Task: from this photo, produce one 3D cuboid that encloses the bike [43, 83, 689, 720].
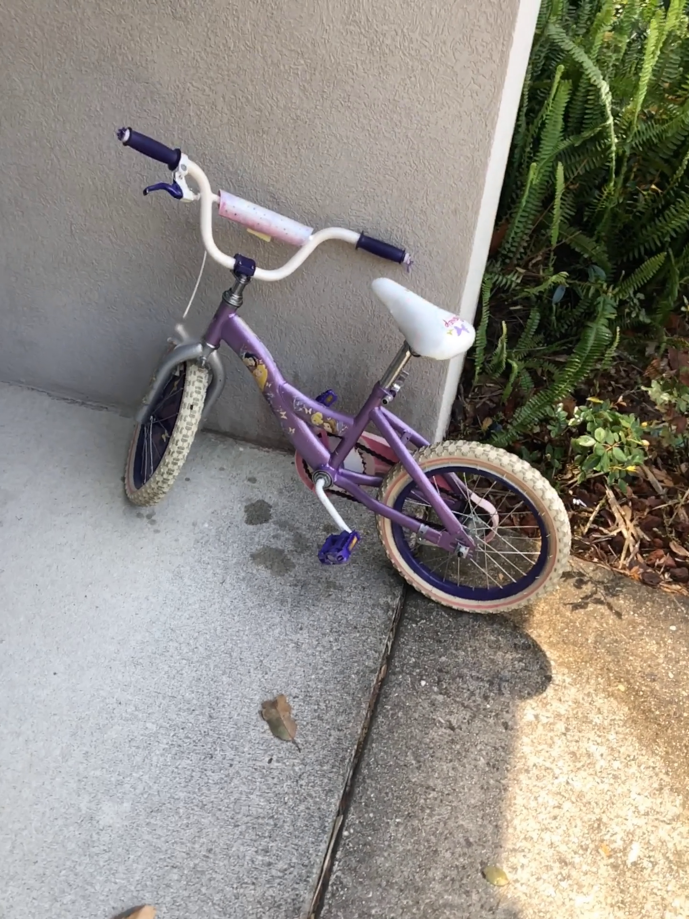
[{"bbox_3d":[0.064,-0.135,1.438,0.846,0.816,0.618,18,43,15],"label":"bike"}]
